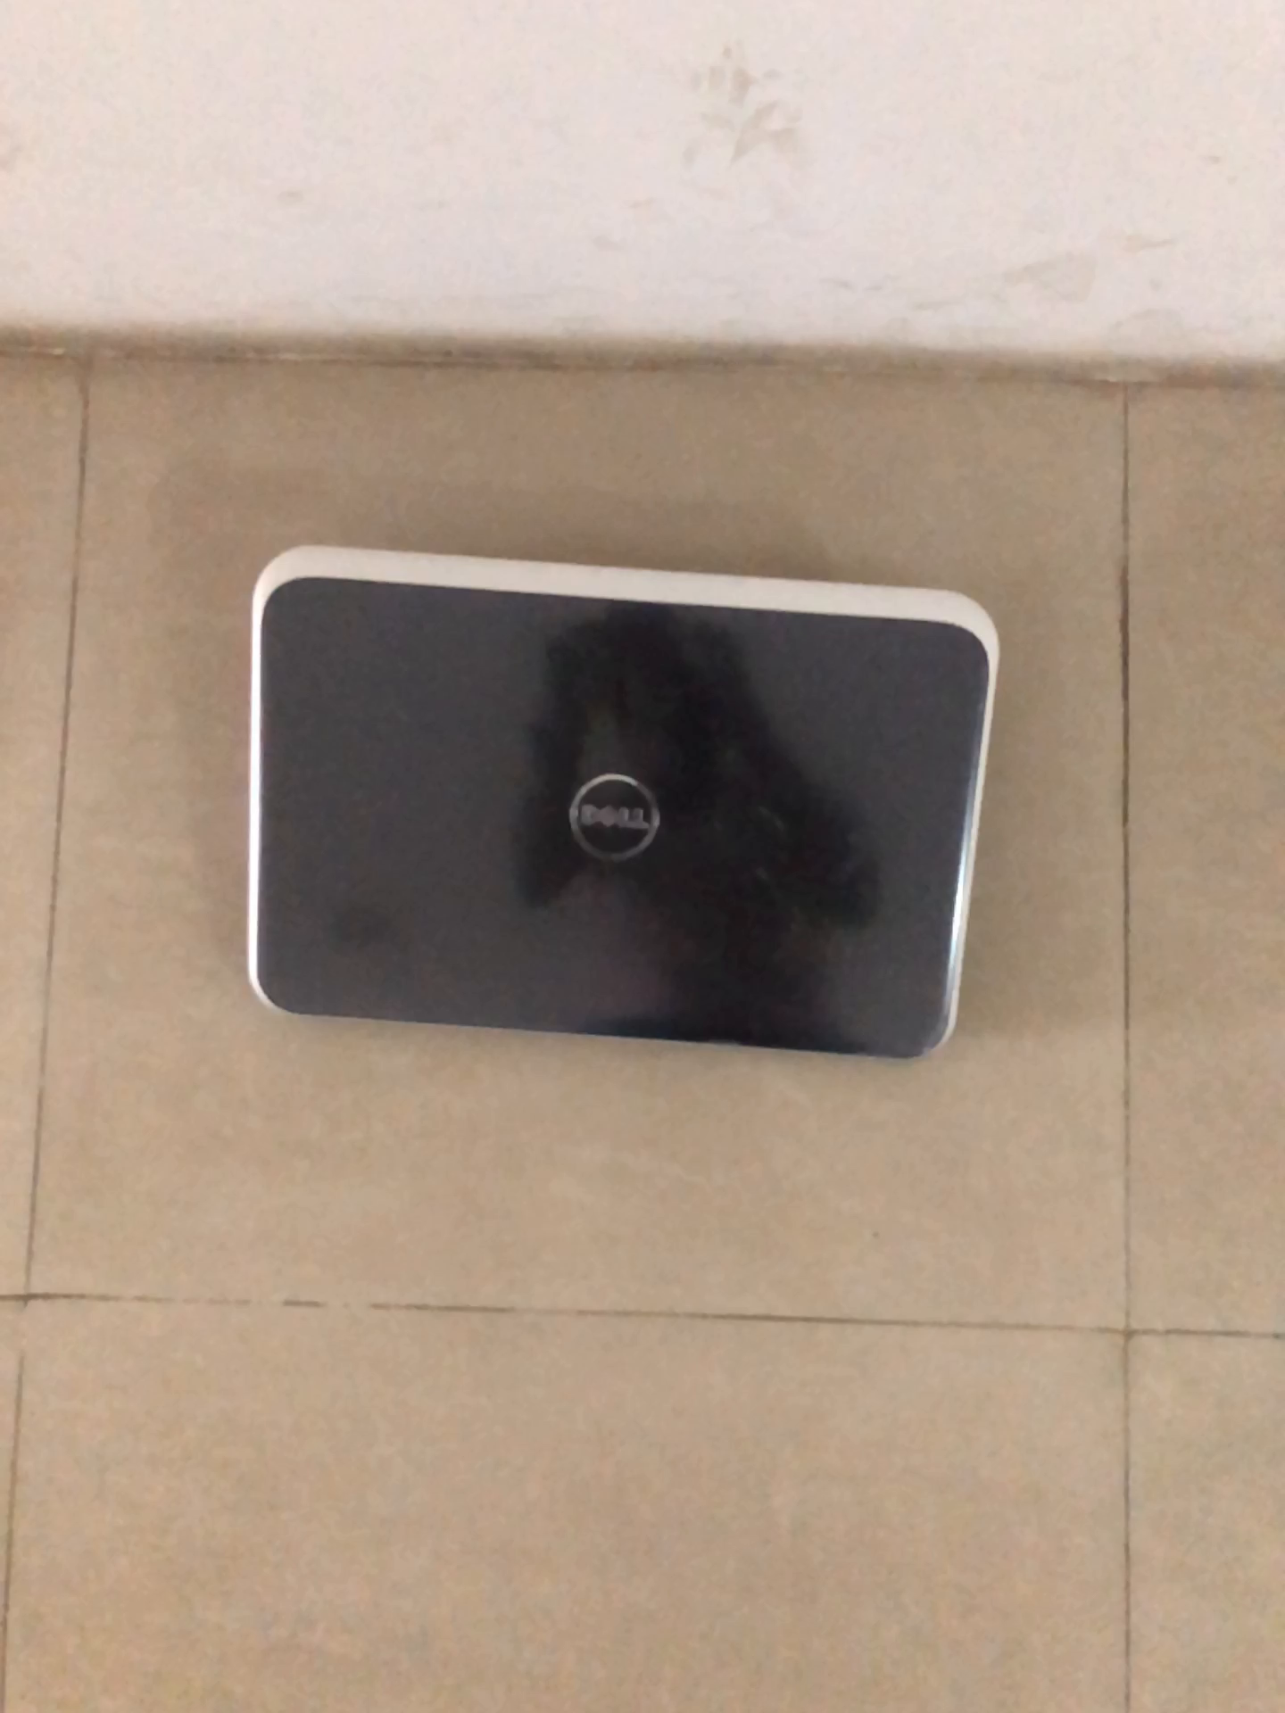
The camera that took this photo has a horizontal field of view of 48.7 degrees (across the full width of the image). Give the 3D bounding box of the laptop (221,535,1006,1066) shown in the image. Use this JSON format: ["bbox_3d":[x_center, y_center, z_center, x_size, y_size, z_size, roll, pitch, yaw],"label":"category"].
[{"bbox_3d":[-0.011,-0.024,0.722,0.360,0.080,0.234,4,86,-1],"label":"laptop"}]
